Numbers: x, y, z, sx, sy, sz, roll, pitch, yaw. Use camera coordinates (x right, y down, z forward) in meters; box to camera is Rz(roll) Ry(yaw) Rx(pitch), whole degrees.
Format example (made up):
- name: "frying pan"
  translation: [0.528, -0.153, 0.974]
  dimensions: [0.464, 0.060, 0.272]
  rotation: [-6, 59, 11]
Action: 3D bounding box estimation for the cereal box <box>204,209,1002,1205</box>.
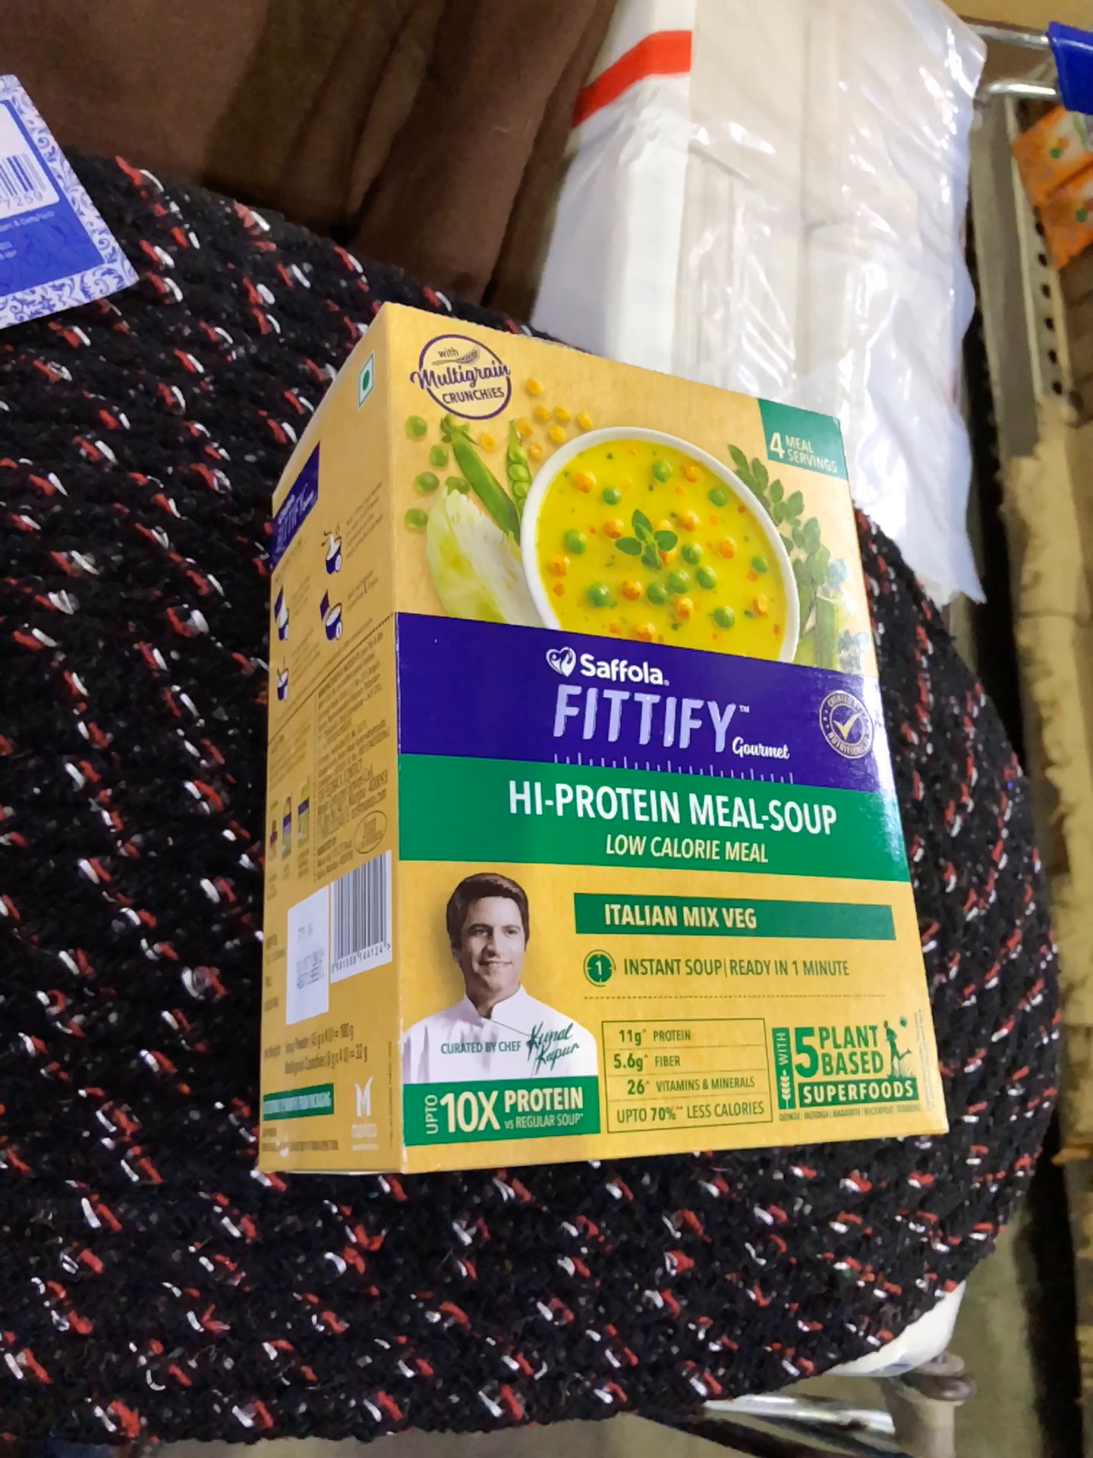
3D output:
- name: "cereal box"
  translation: [0.005, 0.004, 0.259]
  dimensions: [0.130, 0.080, 0.170]
  rotation: [6, 70, -26]
